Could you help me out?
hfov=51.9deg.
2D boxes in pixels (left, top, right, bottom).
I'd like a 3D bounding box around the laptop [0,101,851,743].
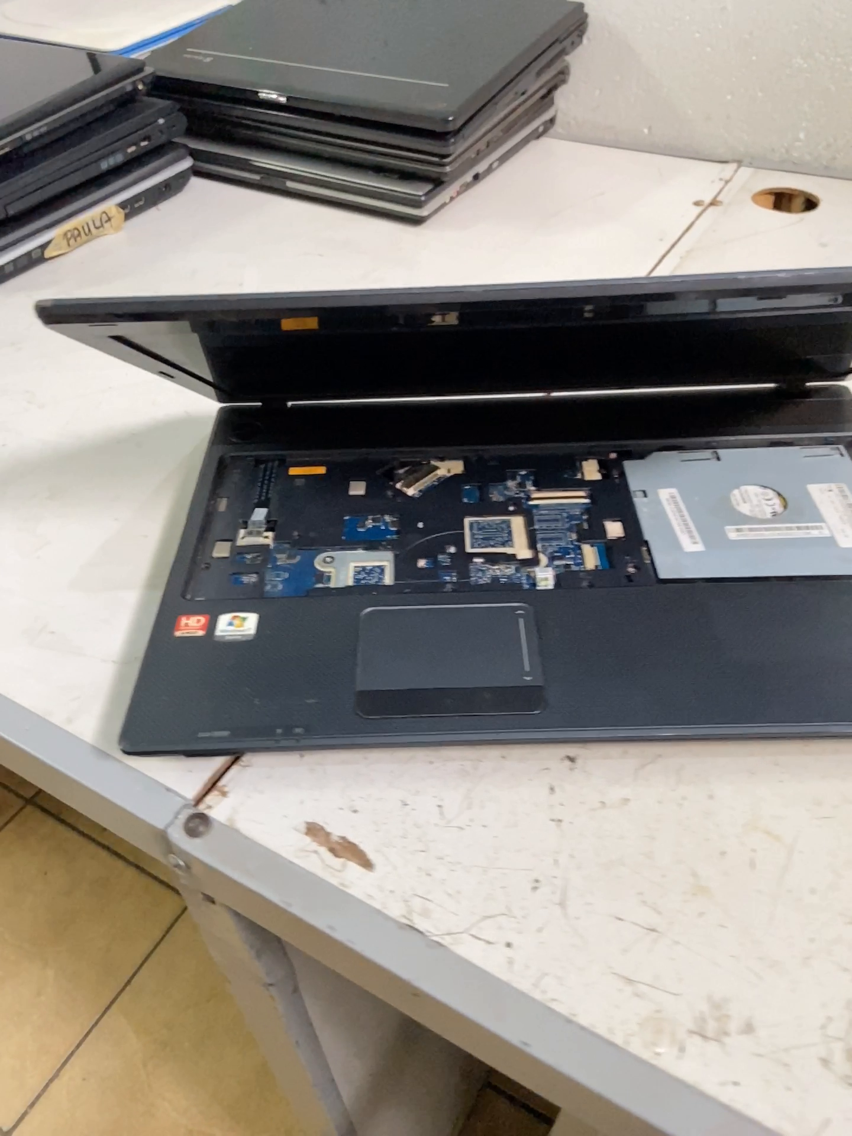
[{"bbox_3d":[0.058,-0.073,0.379,0.370,0.156,0.240,-2,43,2],"label":"laptop"}]
